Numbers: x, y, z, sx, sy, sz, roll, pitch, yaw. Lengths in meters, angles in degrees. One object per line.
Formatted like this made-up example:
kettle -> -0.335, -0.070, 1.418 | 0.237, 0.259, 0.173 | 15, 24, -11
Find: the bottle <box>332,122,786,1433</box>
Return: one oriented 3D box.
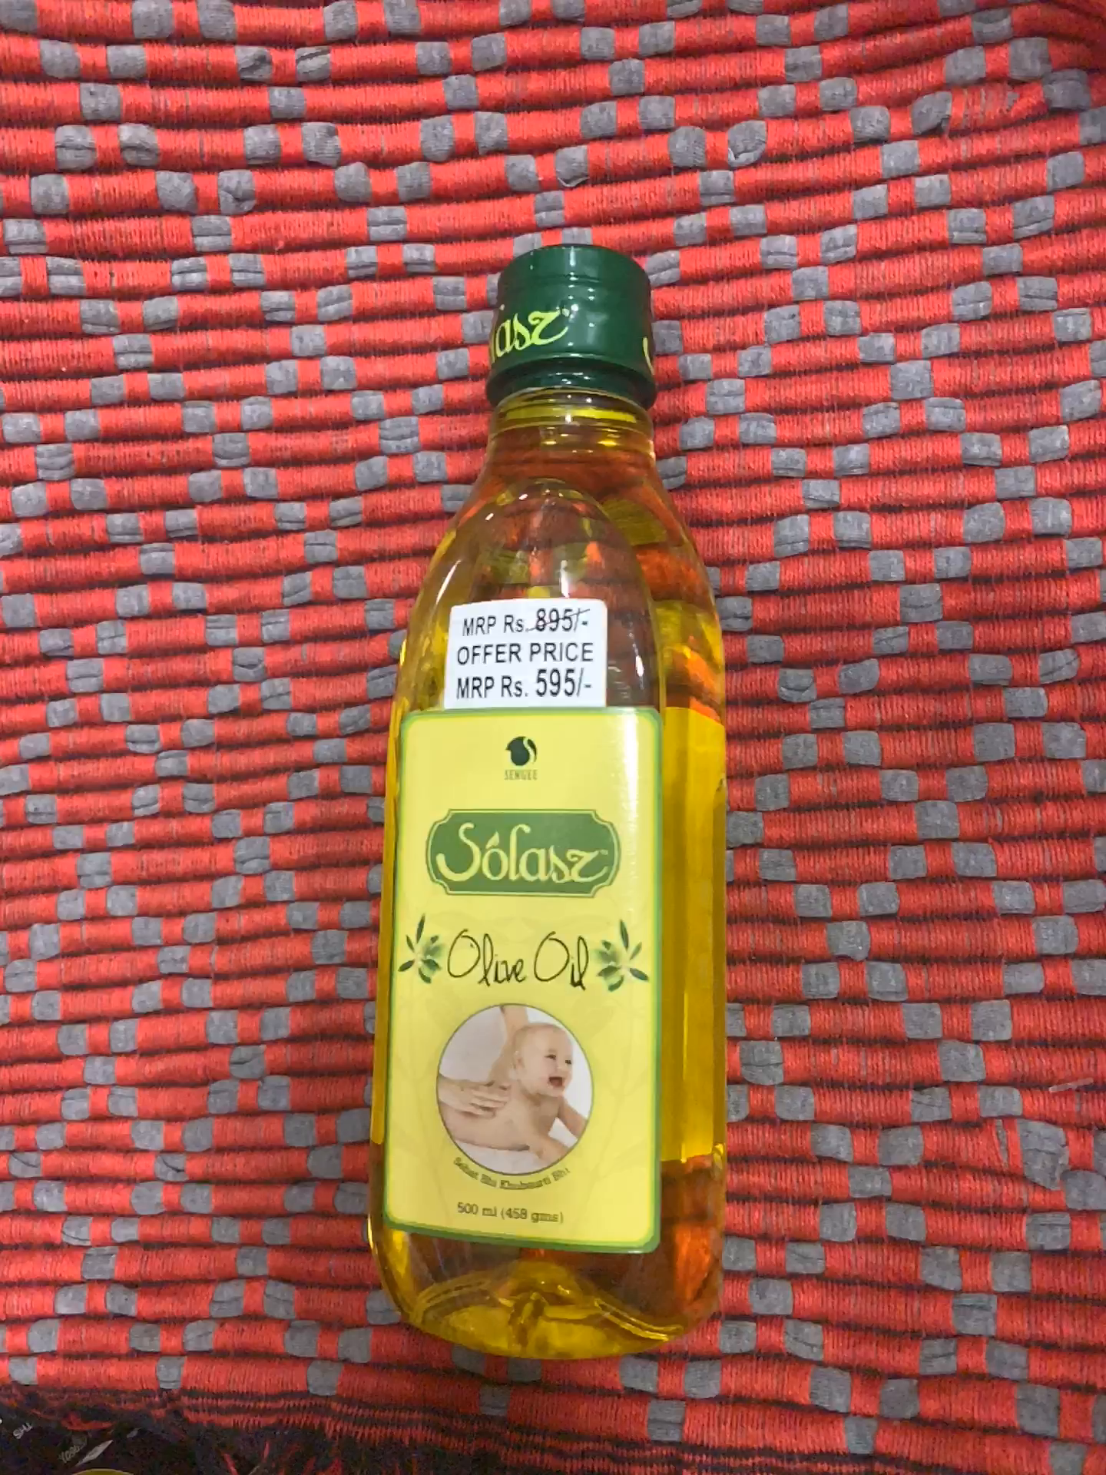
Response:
bottle -> 0.008, 0.002, 0.229 | 0.070, 0.060, 0.220 | -1, 81, 16
